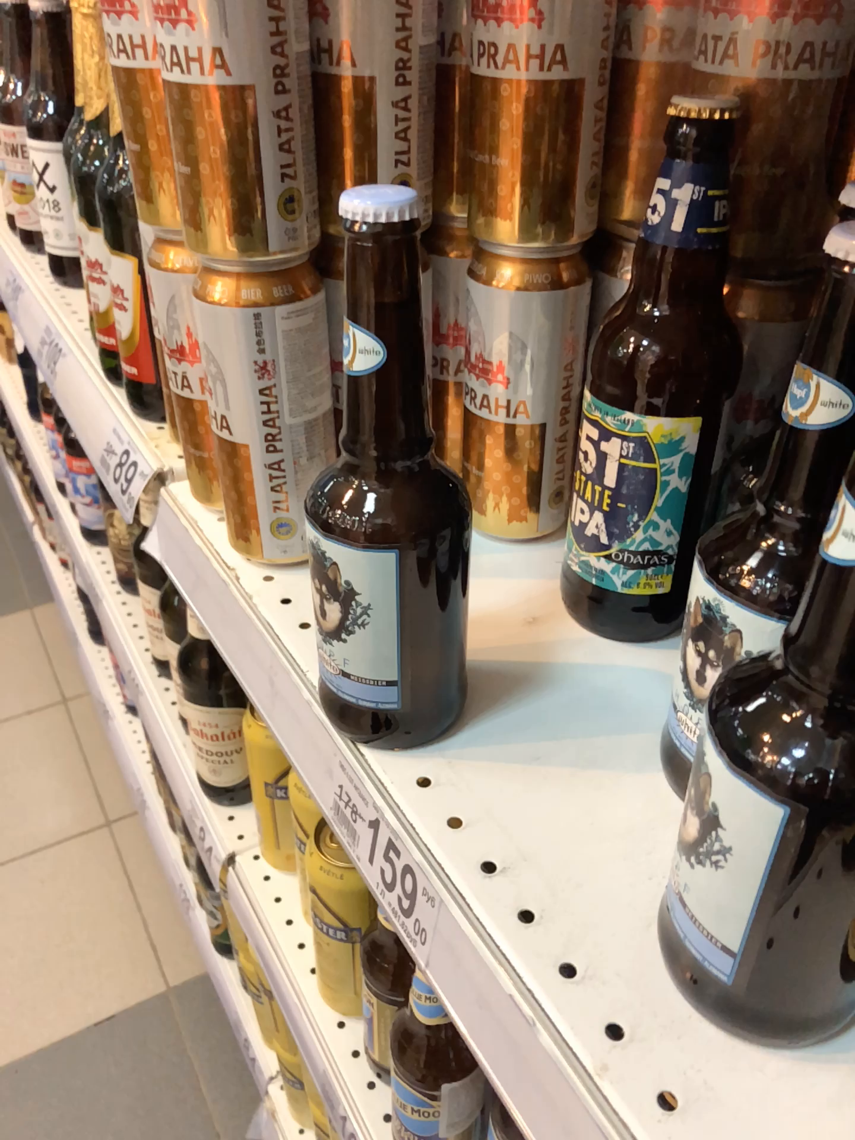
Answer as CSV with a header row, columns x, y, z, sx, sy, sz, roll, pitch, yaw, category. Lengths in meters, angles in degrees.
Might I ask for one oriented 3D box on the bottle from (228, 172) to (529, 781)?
x,y,z,sx,sy,sz,roll,pitch,yaw,category
-0.019,-0.033,0.379,0.070,0.219,0.080,-20,39,-29,bottle
